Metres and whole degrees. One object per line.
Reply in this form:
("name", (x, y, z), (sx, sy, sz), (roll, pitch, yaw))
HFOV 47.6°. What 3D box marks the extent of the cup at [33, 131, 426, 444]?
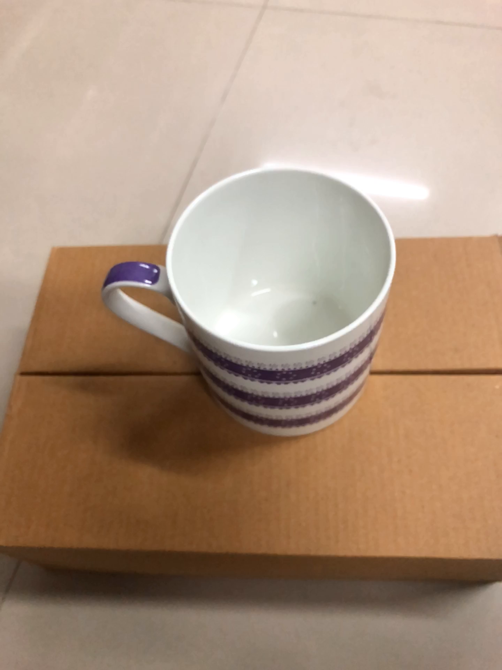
("cup", (-0.003, -0.014, 0.233), (0.120, 0.090, 0.090), (0, 61, 5))
